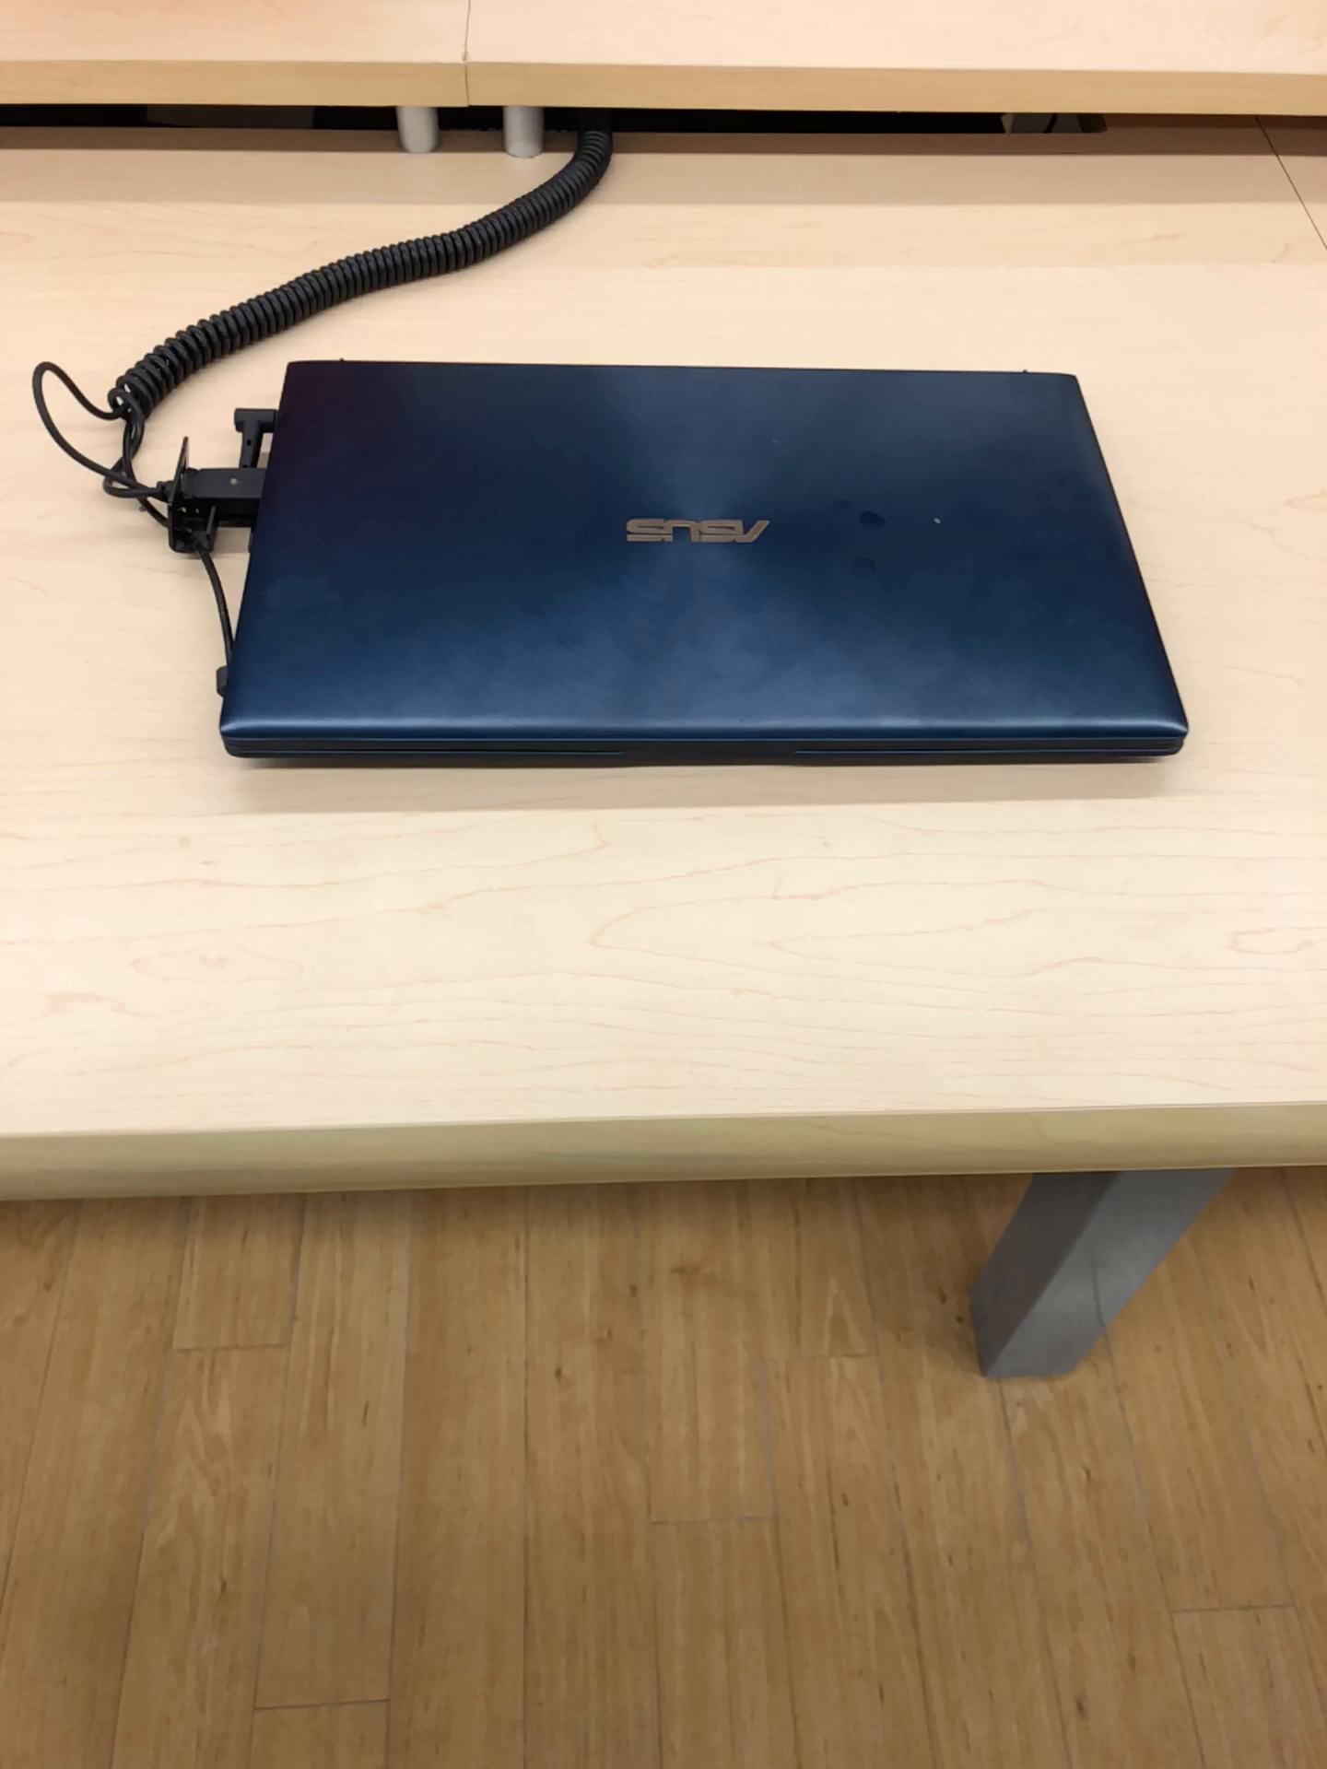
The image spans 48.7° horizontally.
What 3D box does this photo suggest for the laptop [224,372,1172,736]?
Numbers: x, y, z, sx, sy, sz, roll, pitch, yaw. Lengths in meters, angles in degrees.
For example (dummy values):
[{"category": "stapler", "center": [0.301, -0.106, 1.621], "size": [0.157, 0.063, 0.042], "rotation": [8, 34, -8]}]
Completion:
[{"category": "laptop", "center": [0.011, -0.120, 0.506], "size": [0.295, 0.001, 0.178], "rotation": [0, 55, -2]}]
